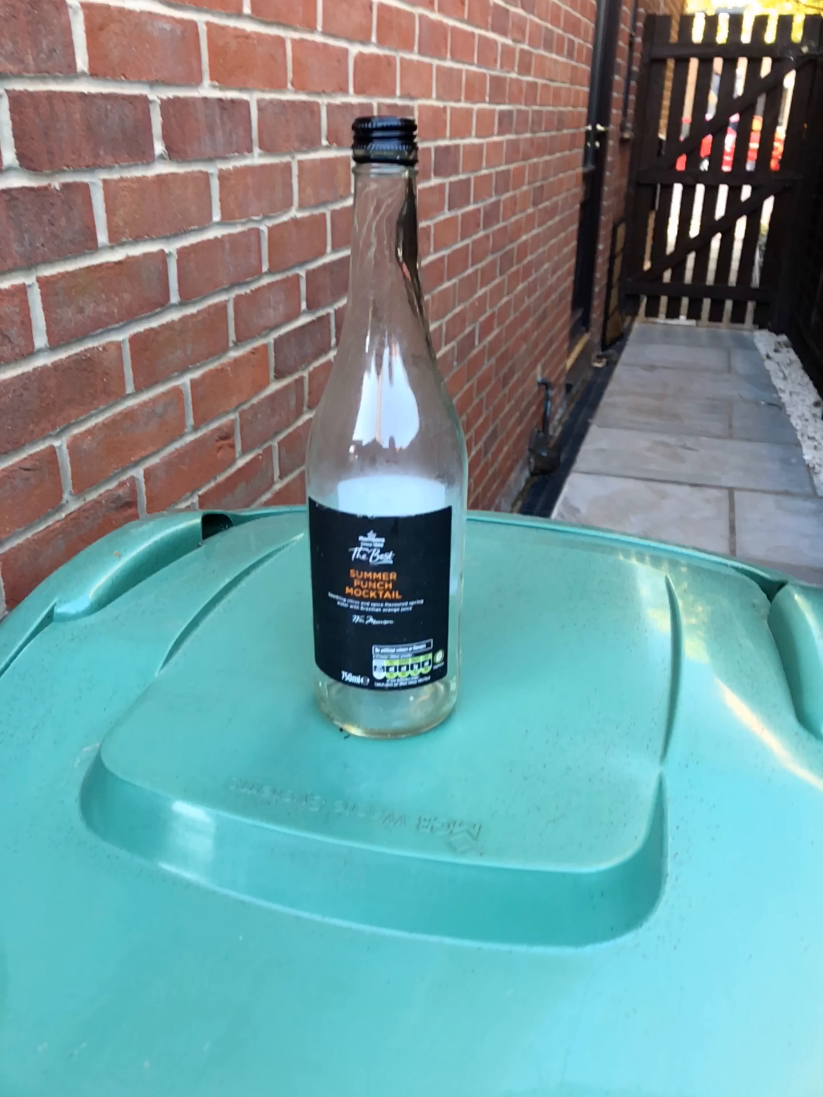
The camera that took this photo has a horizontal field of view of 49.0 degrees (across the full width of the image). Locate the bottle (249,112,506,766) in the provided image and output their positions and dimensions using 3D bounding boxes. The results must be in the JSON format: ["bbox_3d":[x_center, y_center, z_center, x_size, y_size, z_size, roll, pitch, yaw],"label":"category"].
[{"bbox_3d":[-0.011,-0.045,0.425,0.090,0.288,0.081,4,25,8],"label":"bottle"}]
